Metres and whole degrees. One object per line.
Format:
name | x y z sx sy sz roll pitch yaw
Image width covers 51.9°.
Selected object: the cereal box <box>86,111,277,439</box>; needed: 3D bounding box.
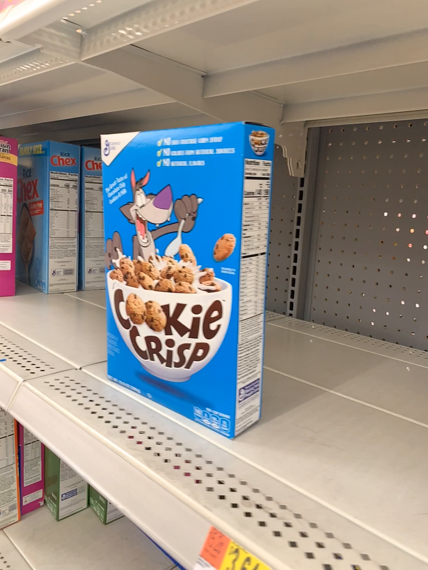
cereal box | -0.046 -0.018 0.454 0.210 0.279 0.050 12 15 39
